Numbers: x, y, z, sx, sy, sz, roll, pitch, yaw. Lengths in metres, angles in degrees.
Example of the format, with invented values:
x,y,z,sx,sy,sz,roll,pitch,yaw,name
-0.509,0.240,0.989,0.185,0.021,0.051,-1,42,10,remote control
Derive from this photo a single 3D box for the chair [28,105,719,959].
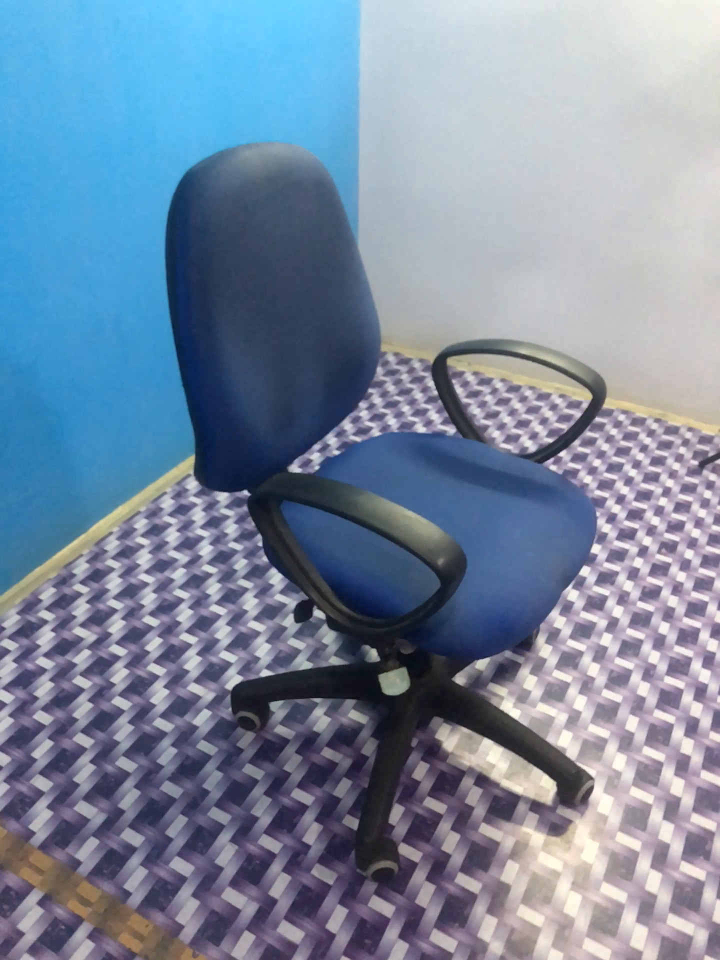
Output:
x,y,z,sx,sy,sz,roll,pitch,yaw,name
0.130,0.015,1.139,0.670,0.875,0.704,17,36,23,chair
